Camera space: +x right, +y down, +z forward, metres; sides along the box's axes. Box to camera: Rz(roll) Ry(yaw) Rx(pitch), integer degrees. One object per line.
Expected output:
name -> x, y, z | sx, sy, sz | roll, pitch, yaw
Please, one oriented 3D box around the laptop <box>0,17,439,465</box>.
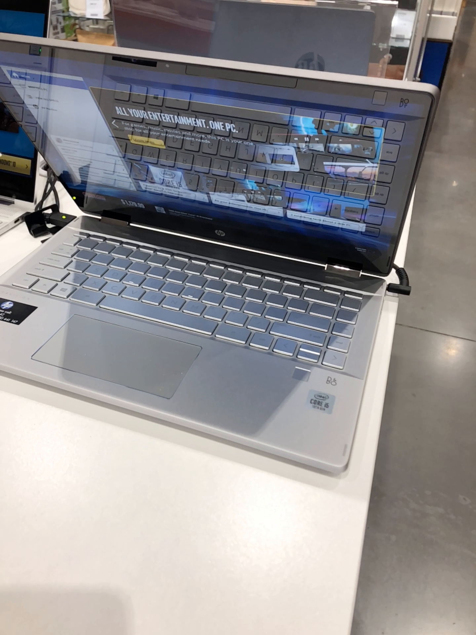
laptop -> -0.051, -0.082, 0.373 | 0.318, 0.185, 0.207 | 13, 39, 15
